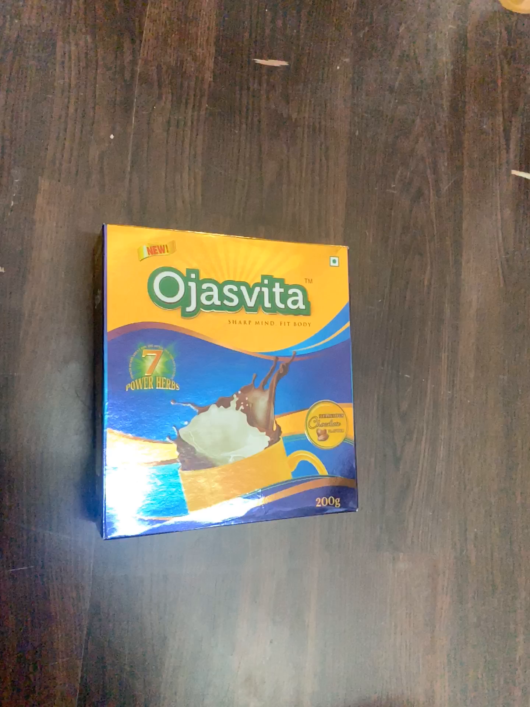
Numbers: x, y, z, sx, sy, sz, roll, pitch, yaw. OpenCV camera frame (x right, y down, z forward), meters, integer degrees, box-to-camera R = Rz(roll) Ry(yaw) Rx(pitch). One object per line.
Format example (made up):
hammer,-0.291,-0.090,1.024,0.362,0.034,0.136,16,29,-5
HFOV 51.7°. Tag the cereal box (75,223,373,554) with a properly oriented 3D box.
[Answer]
cereal box,-0.021,0.016,0.296,0.150,0.040,0.150,0,83,-23
